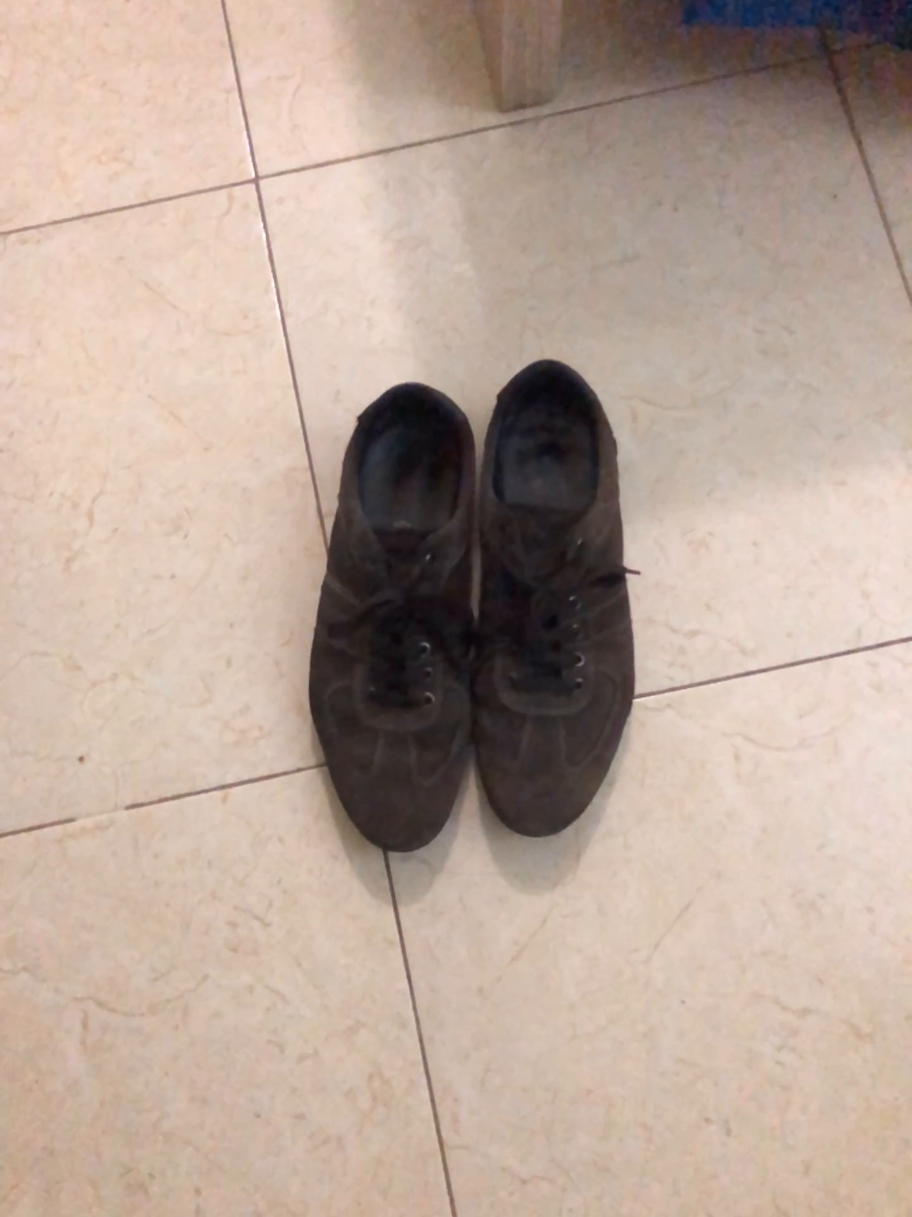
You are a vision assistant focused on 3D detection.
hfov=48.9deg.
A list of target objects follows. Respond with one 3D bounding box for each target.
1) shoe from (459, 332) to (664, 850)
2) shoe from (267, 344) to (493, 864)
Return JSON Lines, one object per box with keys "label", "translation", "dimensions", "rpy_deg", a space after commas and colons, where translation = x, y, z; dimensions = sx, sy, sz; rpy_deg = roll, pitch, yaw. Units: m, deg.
{"label": "shoe", "translation": [0.063, -0.007, 0.624], "dimensions": [0.110, 0.110, 0.300], "rpy_deg": [1, 78, 3]}
{"label": "shoe", "translation": [-0.038, 0.001, 0.622], "dimensions": [0.120, 0.110, 0.300], "rpy_deg": [0, 78, 3]}
